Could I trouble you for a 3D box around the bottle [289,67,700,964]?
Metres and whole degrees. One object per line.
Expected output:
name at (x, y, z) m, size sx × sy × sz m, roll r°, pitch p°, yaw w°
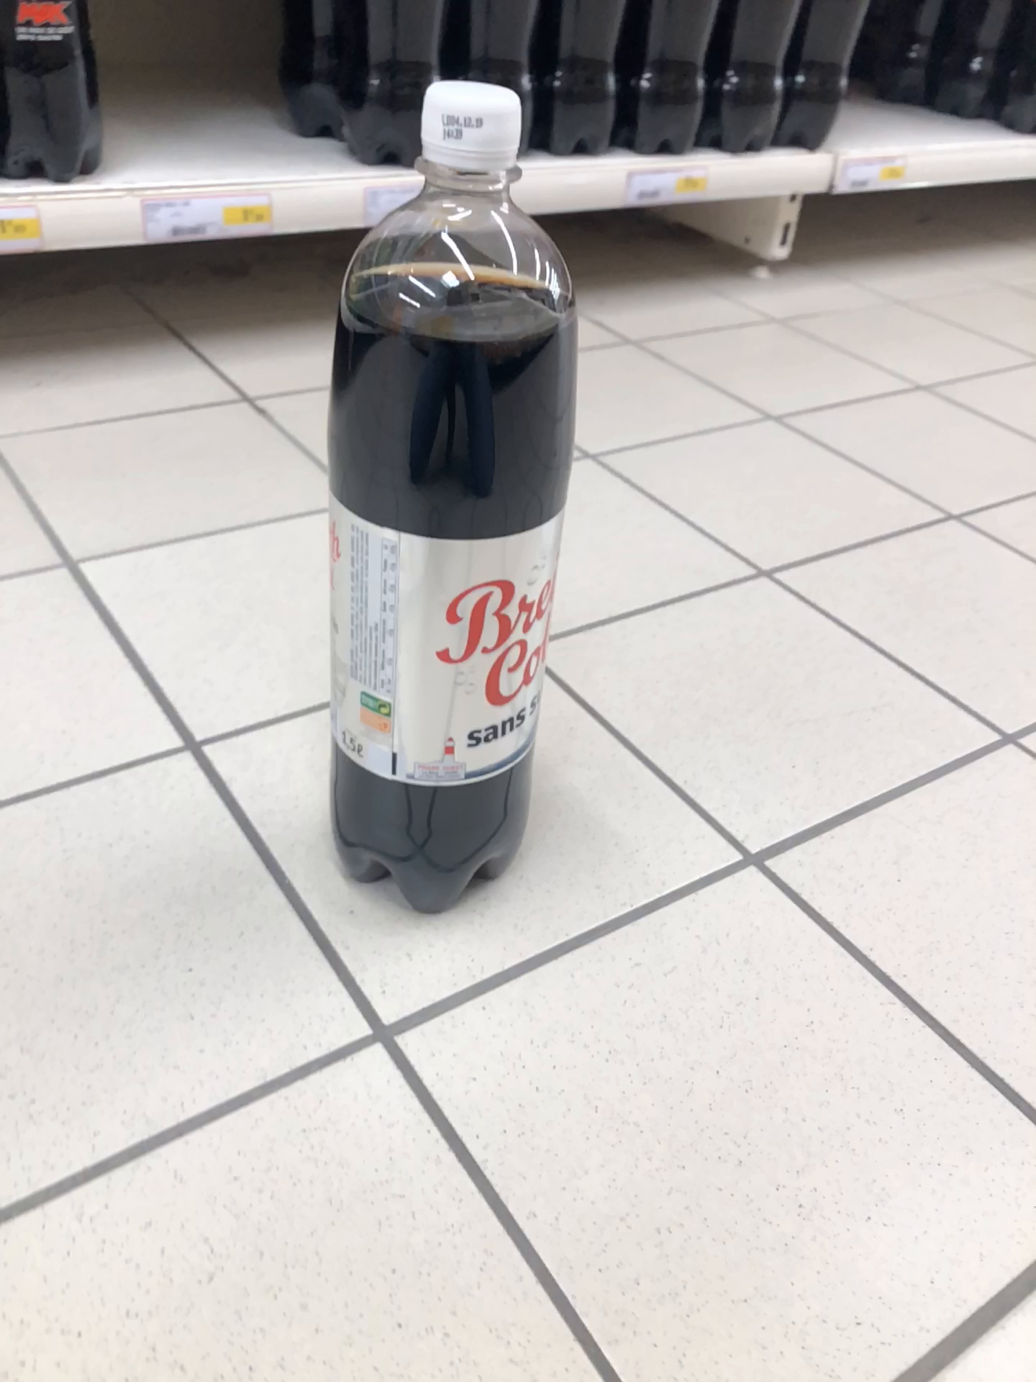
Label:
bottle at (-0.018, -0.054, 0.446) m, size 0.090 × 0.318 × 0.101 m, roll 22°, pitch 37°, yaw 21°
